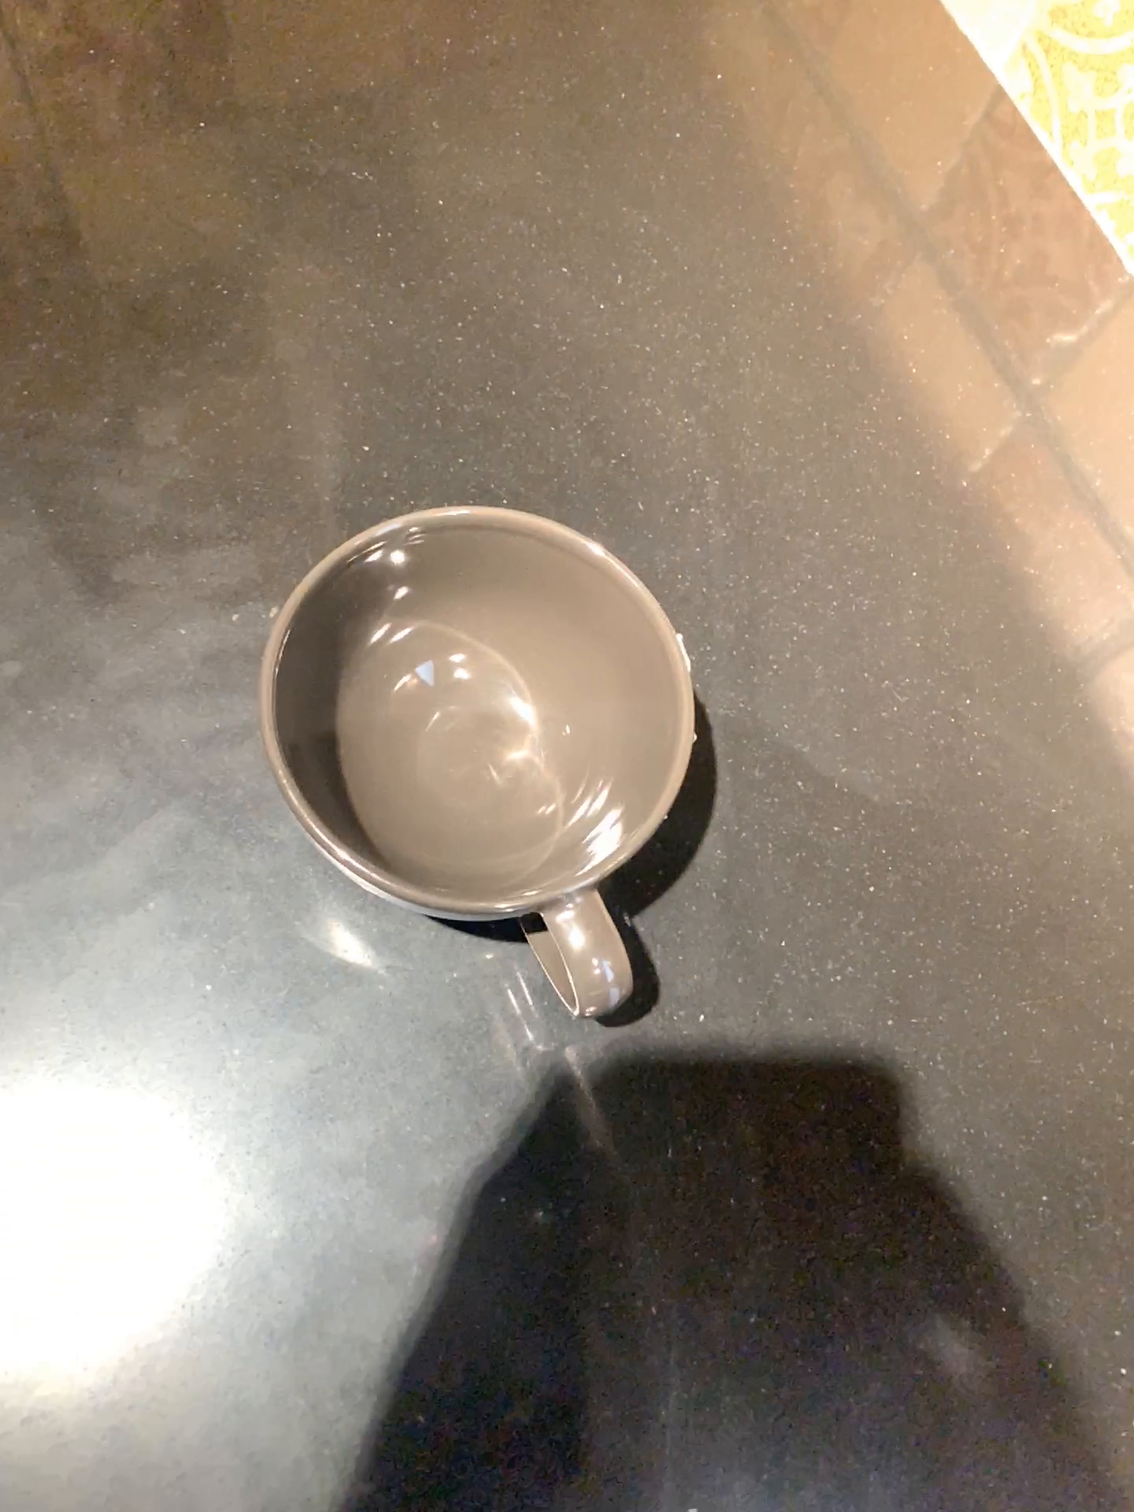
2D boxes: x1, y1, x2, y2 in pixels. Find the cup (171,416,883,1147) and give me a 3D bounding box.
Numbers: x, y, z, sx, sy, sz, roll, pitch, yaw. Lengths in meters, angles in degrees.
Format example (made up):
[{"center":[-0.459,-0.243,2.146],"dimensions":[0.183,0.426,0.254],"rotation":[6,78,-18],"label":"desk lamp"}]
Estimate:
[{"center":[-0.014,0.005,0.294],"dimensions":[0.110,0.060,0.140],"rotation":[-26,75,-15],"label":"cup"}]
